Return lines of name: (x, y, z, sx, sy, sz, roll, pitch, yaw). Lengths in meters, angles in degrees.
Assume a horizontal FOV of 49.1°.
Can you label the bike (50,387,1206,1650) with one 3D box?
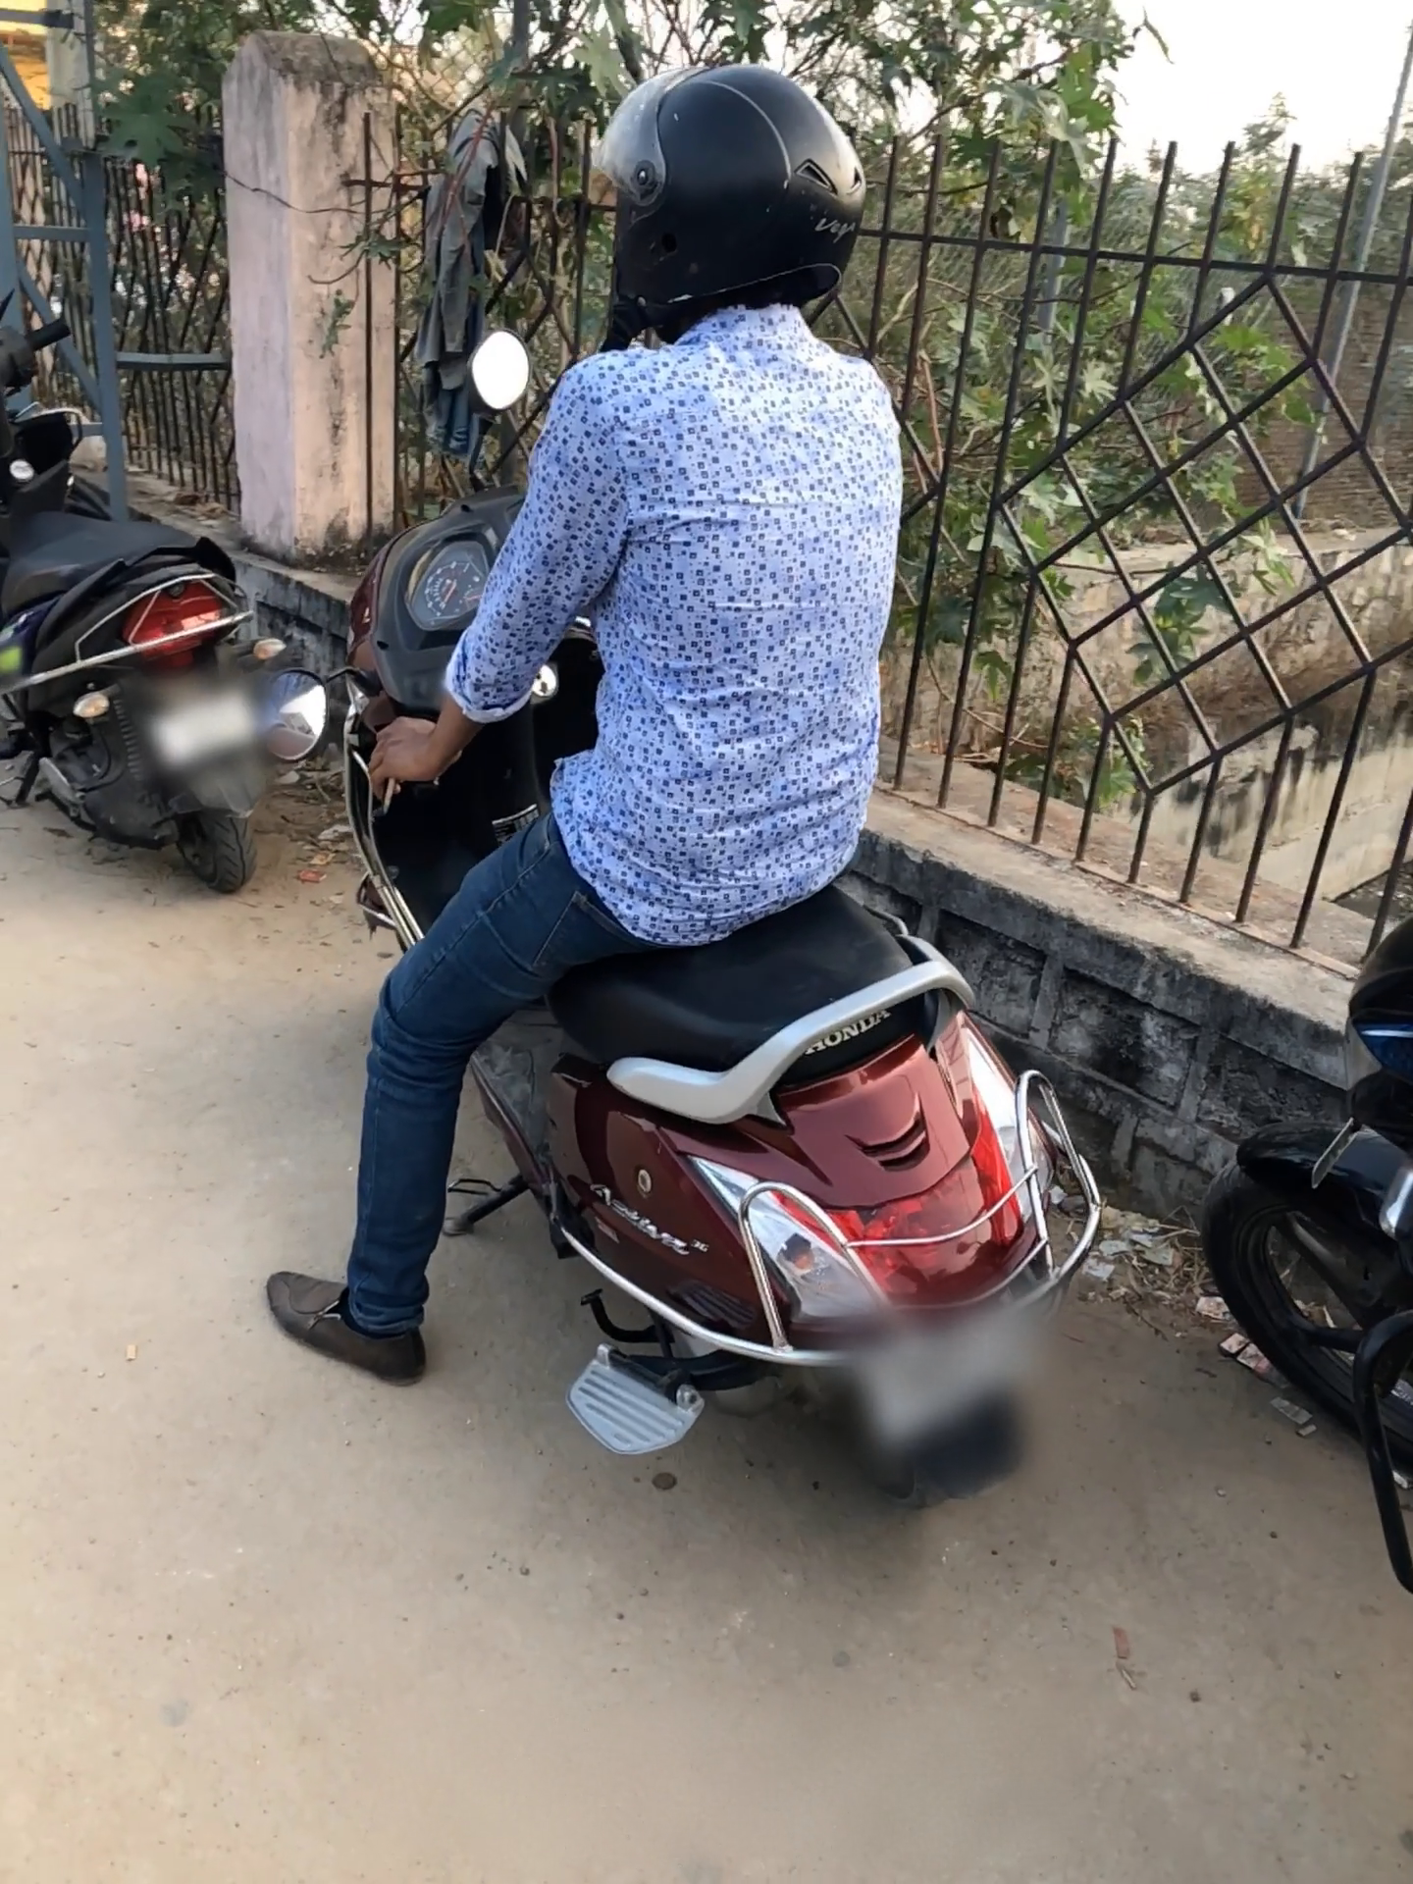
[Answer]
bike: (-0.273, -0.076, 2.014, 0.578, 0.963, 1.492, -13, 32, -35)
